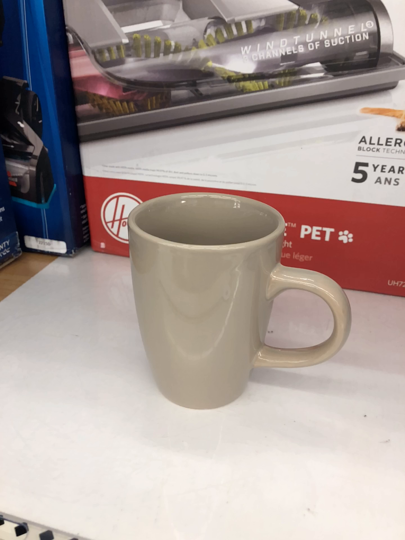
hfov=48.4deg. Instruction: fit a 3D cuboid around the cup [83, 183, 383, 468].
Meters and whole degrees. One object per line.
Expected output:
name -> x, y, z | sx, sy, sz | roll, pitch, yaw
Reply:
cup -> 0.018, 0.018, 0.245 | 0.125, 0.092, 0.088 | 13, 30, 22
